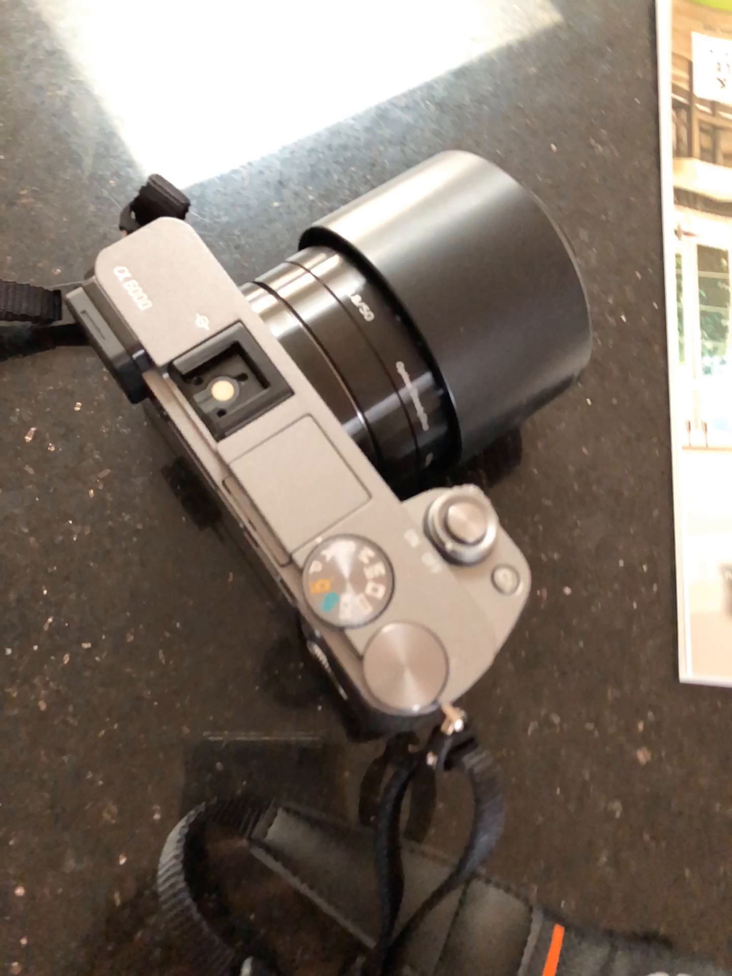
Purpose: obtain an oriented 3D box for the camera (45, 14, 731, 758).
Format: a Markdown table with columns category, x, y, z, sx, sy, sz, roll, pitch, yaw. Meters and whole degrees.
| category | x | y | z | sx | sy | sz | roll | pitch | yaw |
| --- | --- | --- | --- | --- | --- | --- | --- | --- | --- |
| camera | 0.015 | -0.023 | 0.188 | 0.110 | 0.060 | 0.120 | -35 | 77 | -13 |
